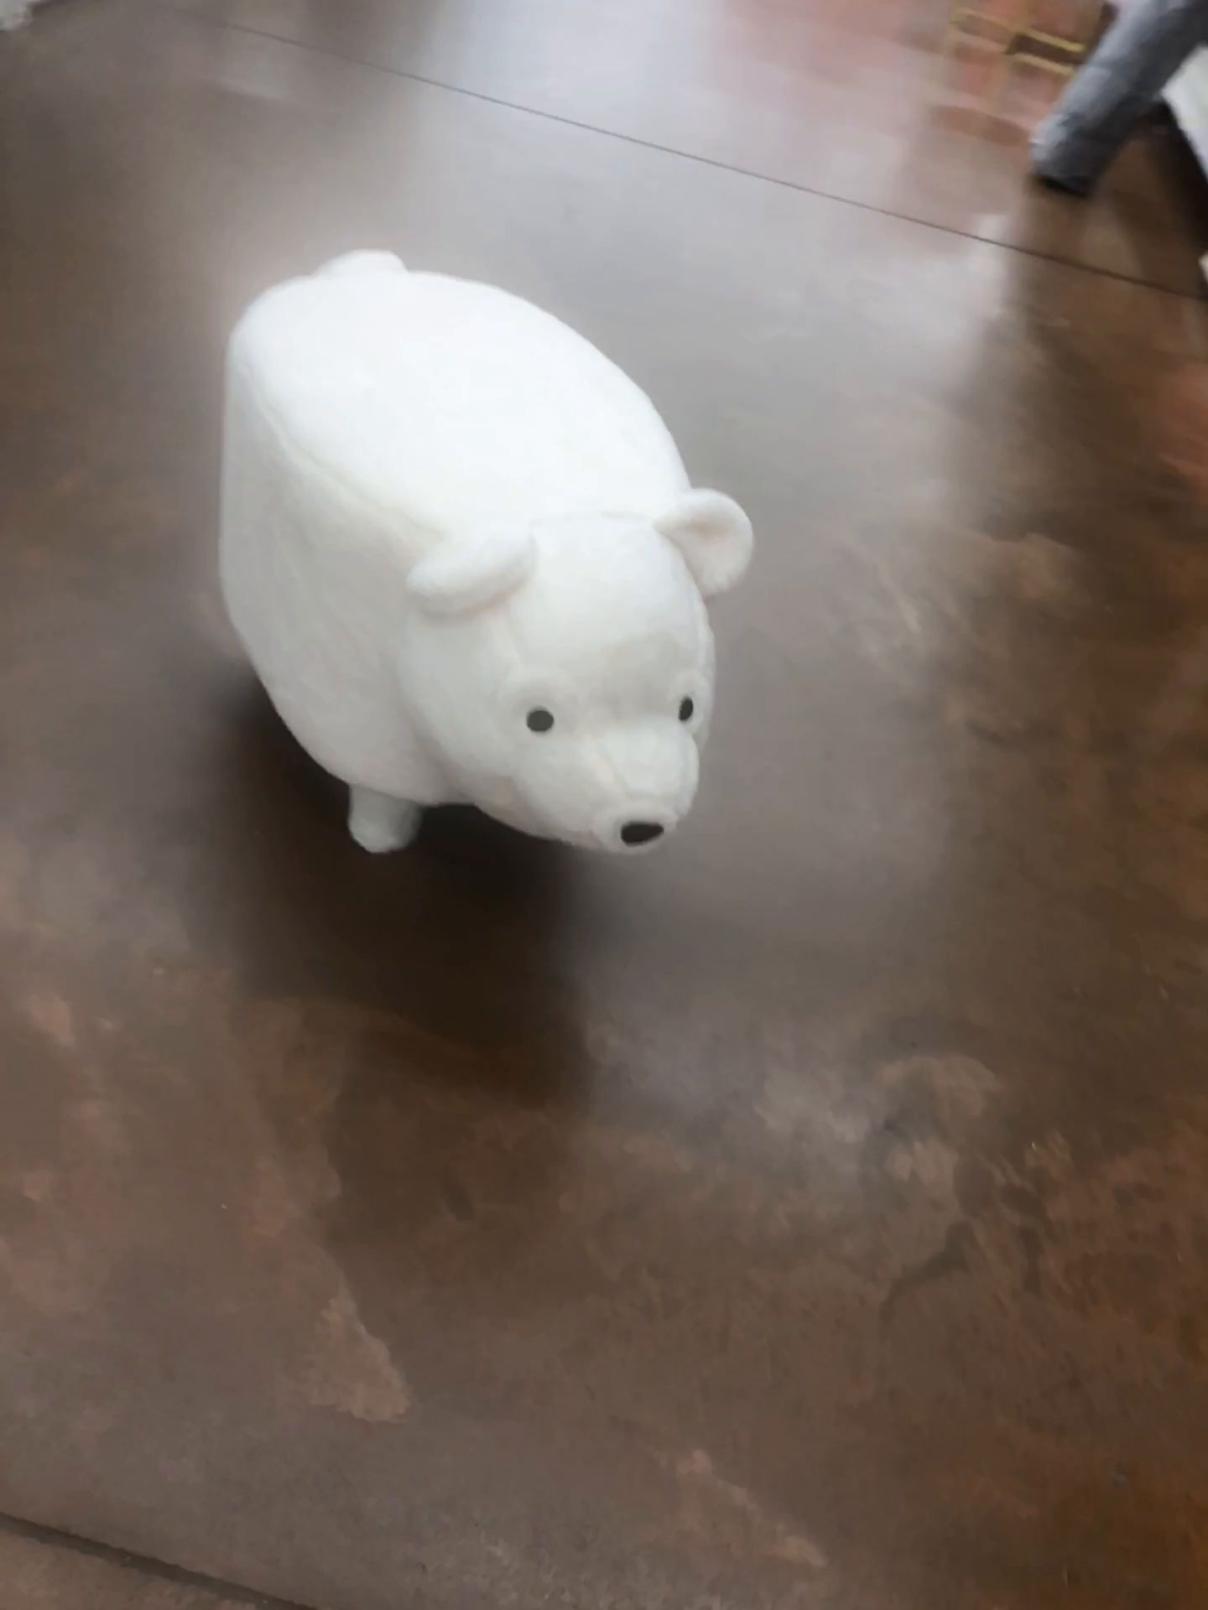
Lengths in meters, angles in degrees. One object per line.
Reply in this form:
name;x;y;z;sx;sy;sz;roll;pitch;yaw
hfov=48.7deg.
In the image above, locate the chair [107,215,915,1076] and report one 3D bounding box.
chair;-0.140;-0.173;1.110;0.440;0.349;0.632;-6;46;-23
